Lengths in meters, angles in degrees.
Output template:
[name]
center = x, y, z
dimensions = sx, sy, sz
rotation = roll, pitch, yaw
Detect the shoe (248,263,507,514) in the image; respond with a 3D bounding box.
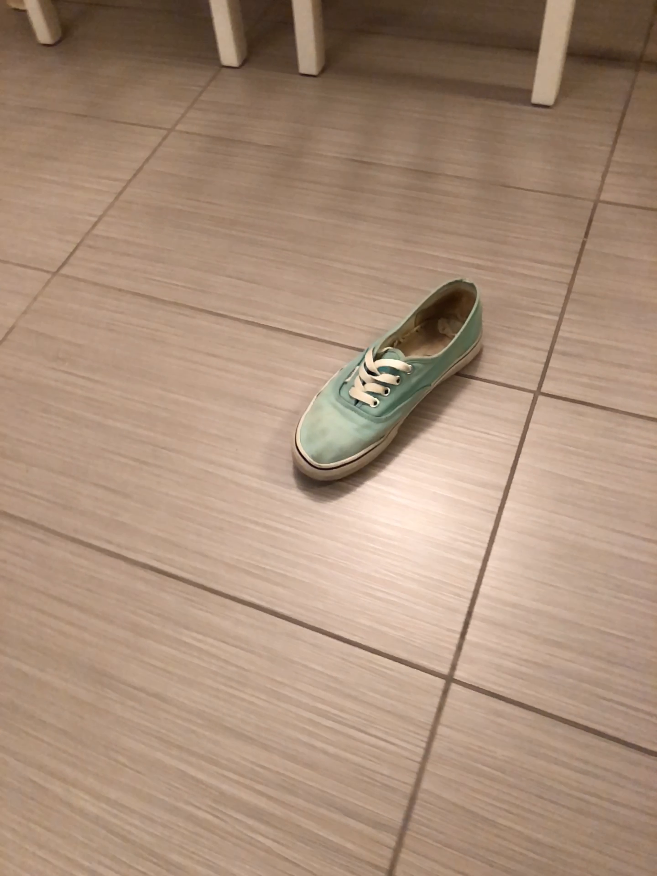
[shoe]
center = 0.055, -0.055, 0.720
dimensions = 0.261, 0.080, 0.090
rotation = -40, 60, -18
